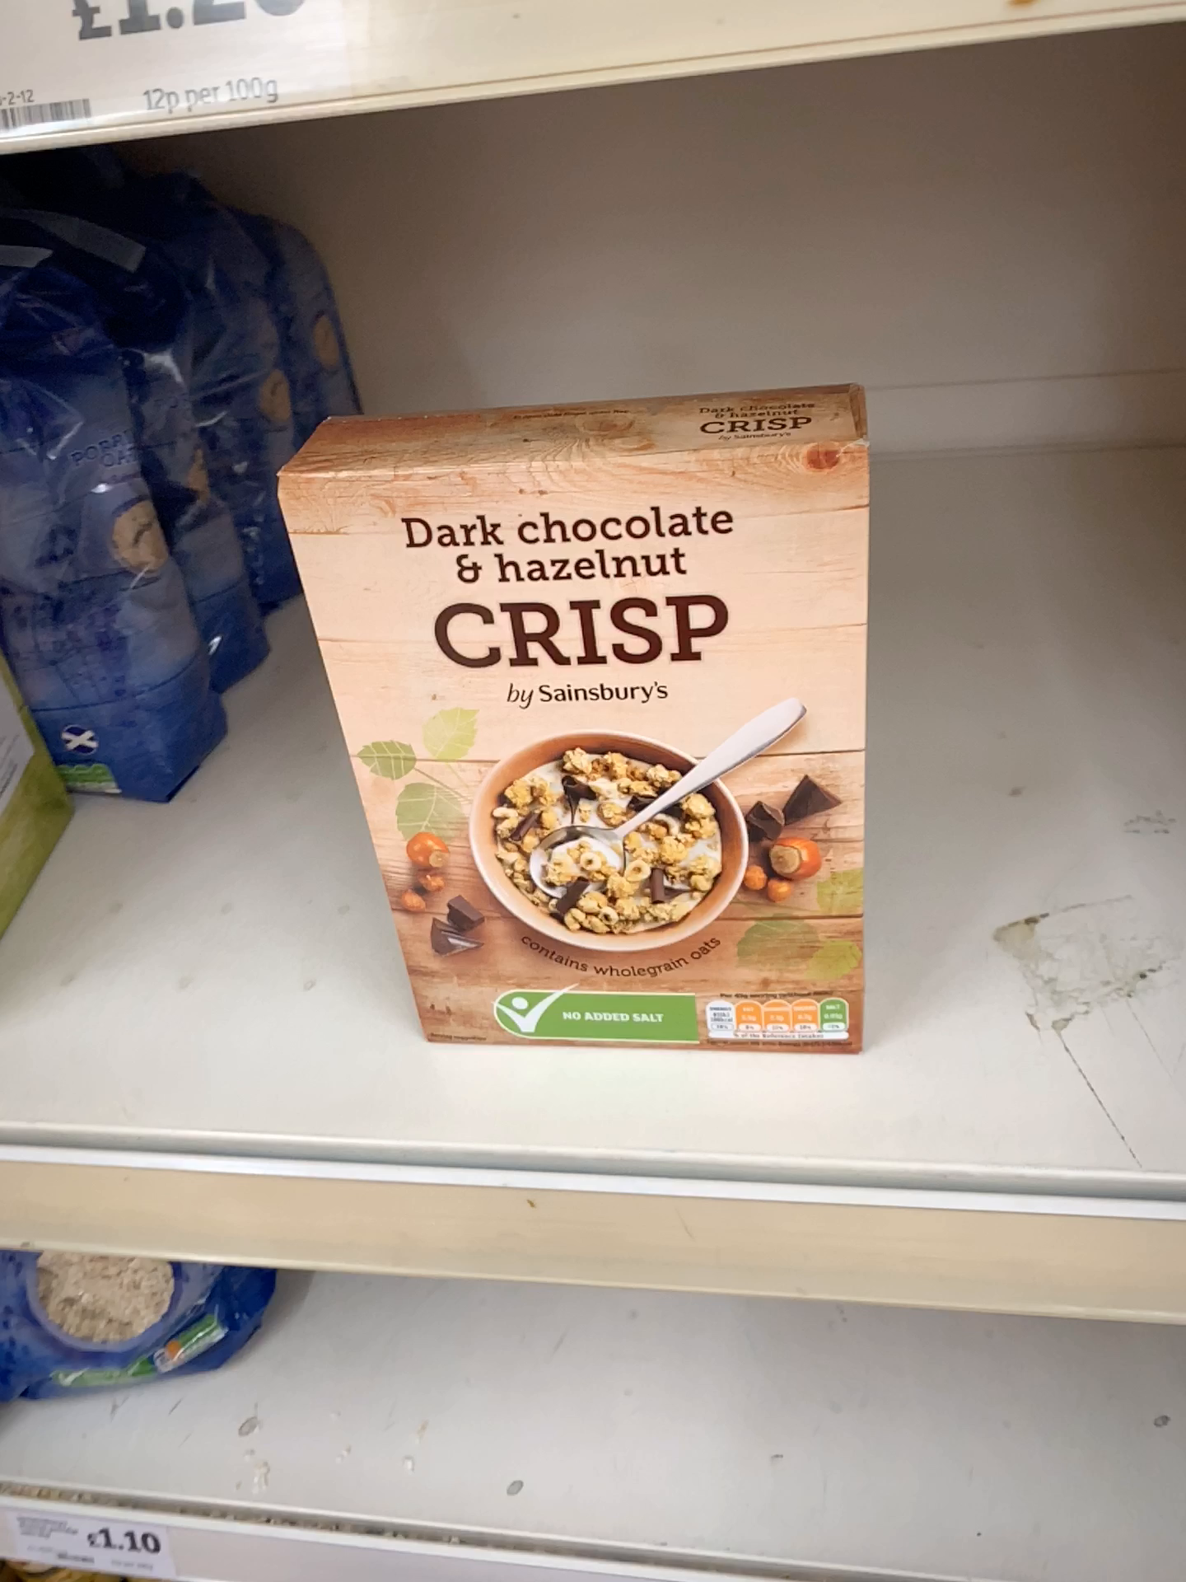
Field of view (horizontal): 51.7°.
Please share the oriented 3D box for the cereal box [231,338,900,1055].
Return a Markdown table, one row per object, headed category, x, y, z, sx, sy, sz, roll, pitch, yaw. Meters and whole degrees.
| category | x | y | z | sx | sy | sz | roll | pitch | yaw |
| --- | --- | --- | --- | --- | --- | --- | --- | --- | --- |
| cereal box | 0.005 | -0.019 | 0.435 | 0.190 | 0.248 | 0.061 | 0 | 35 | 10 |
